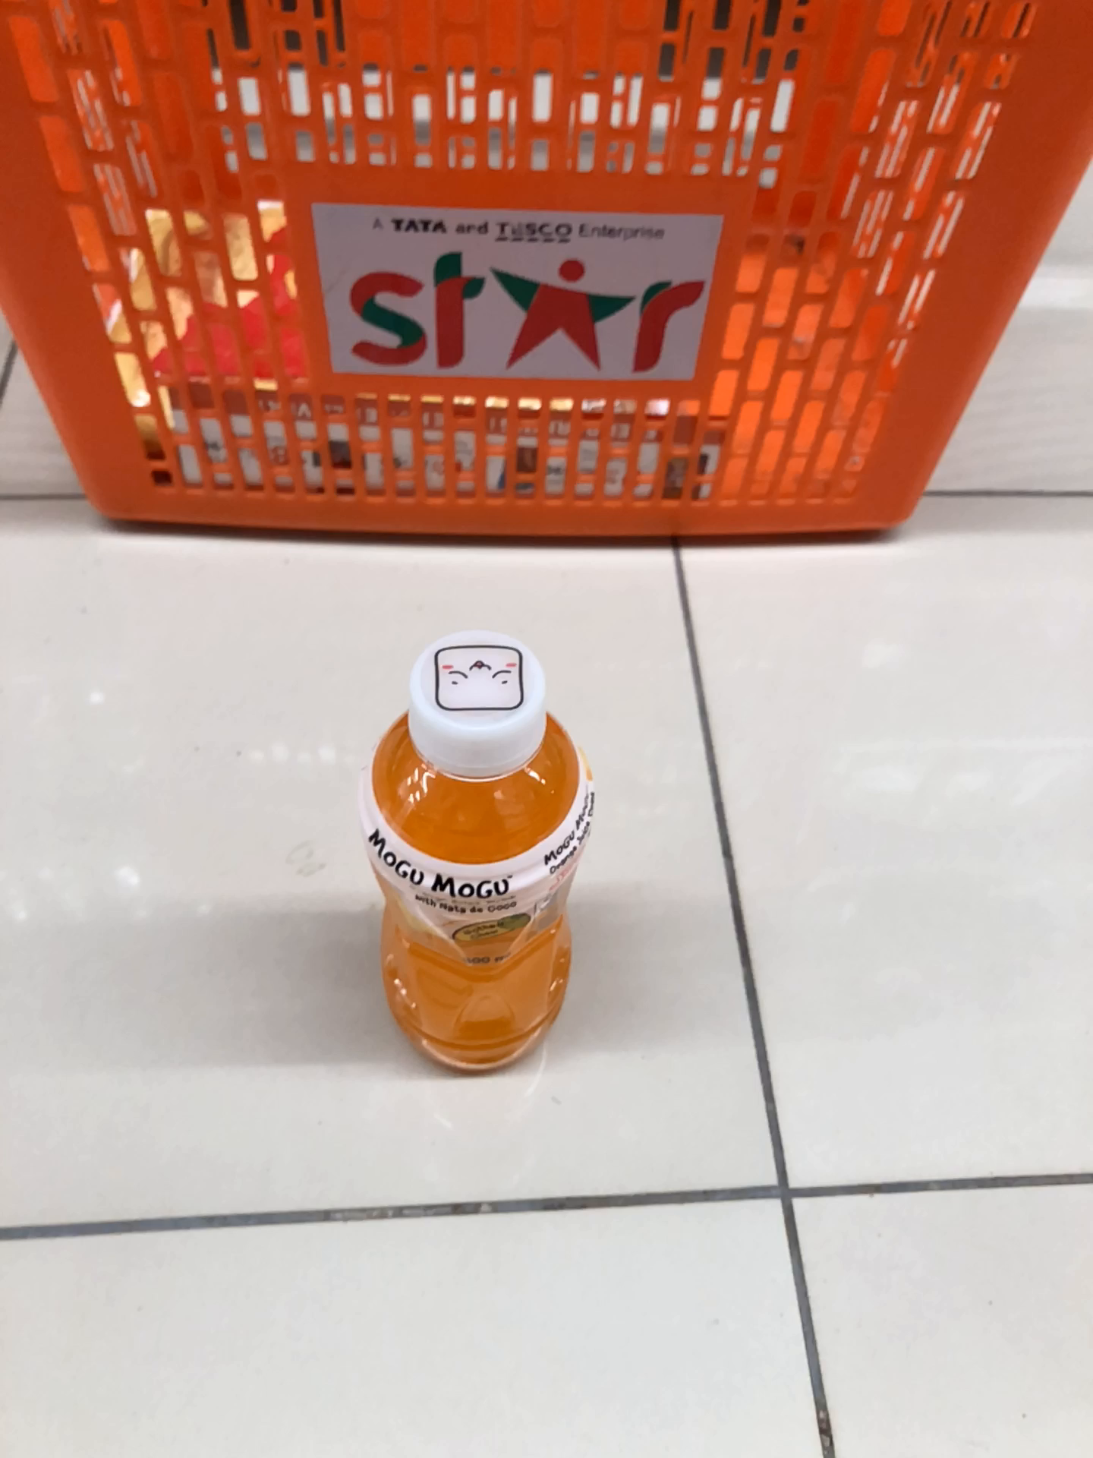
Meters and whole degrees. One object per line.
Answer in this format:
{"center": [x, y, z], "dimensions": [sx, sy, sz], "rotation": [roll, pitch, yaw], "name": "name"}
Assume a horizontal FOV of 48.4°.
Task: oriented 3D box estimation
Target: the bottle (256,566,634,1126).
{"center": [-0.023, 0.040, 0.312], "dimensions": [0.060, 0.159, 0.050], "rotation": [23, 56, 13], "name": "bottle"}
